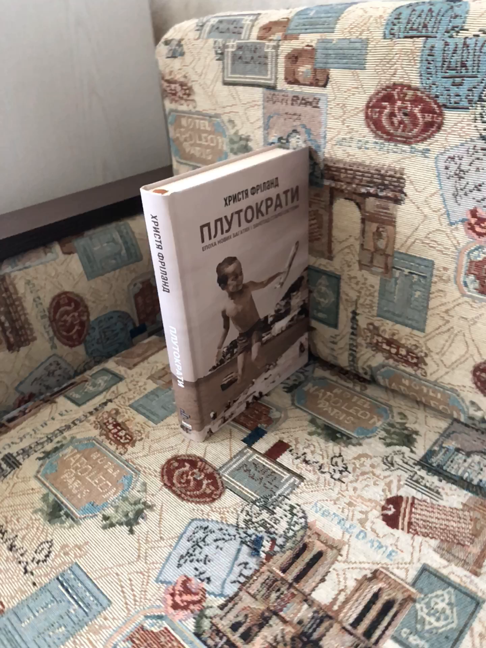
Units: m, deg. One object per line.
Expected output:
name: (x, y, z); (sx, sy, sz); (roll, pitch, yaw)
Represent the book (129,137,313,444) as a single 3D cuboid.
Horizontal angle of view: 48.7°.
book: (-0.004, -0.030, 0.457); (0.037, 0.215, 0.158); (23, 40, 38)
